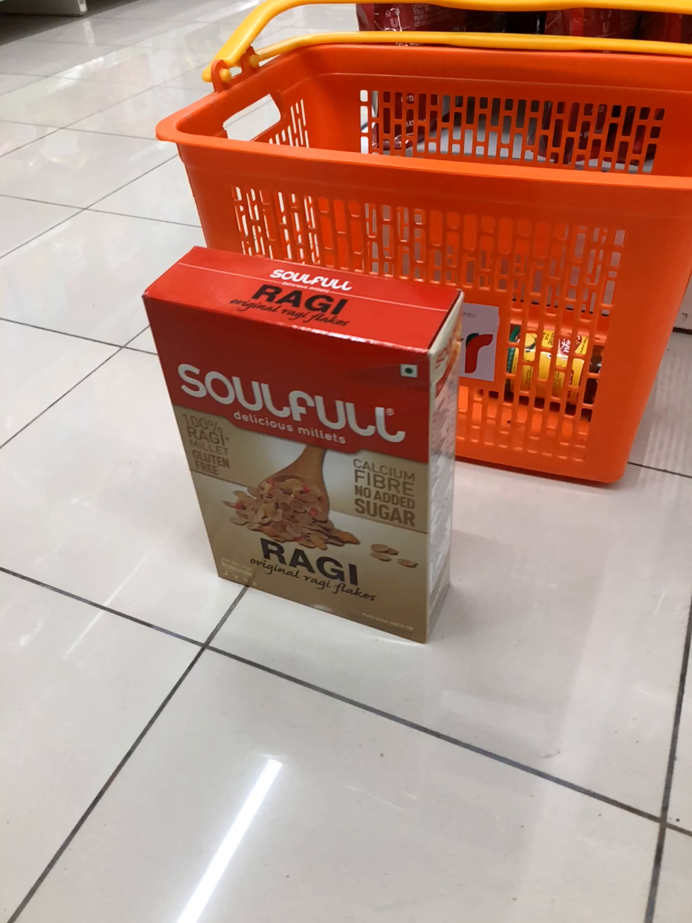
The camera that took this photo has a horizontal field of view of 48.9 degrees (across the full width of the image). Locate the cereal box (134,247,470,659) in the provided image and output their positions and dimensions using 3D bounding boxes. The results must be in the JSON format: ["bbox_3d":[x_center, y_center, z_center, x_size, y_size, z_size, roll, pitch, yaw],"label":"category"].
[{"bbox_3d":[-0.019,0.002,0.480,0.170,0.238,0.060,14,43,20],"label":"cereal box"}]
